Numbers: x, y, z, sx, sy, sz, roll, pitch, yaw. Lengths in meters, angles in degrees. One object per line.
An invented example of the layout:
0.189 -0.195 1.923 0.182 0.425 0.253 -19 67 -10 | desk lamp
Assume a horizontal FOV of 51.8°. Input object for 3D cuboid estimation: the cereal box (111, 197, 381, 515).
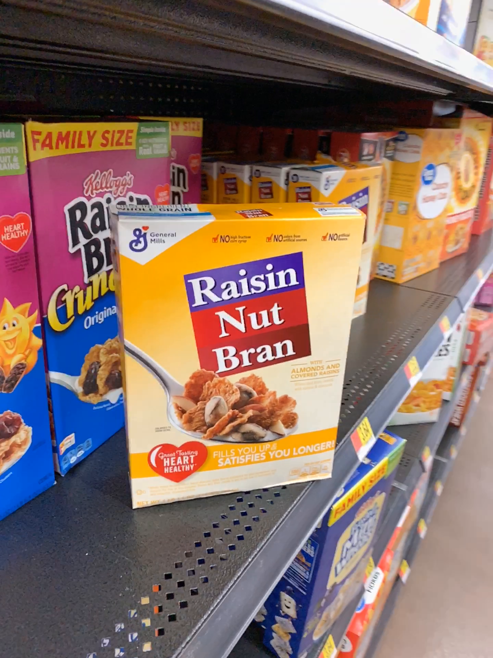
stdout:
-0.007 0.023 0.441 0.200 0.259 0.060 -4 24 -15 | cereal box
